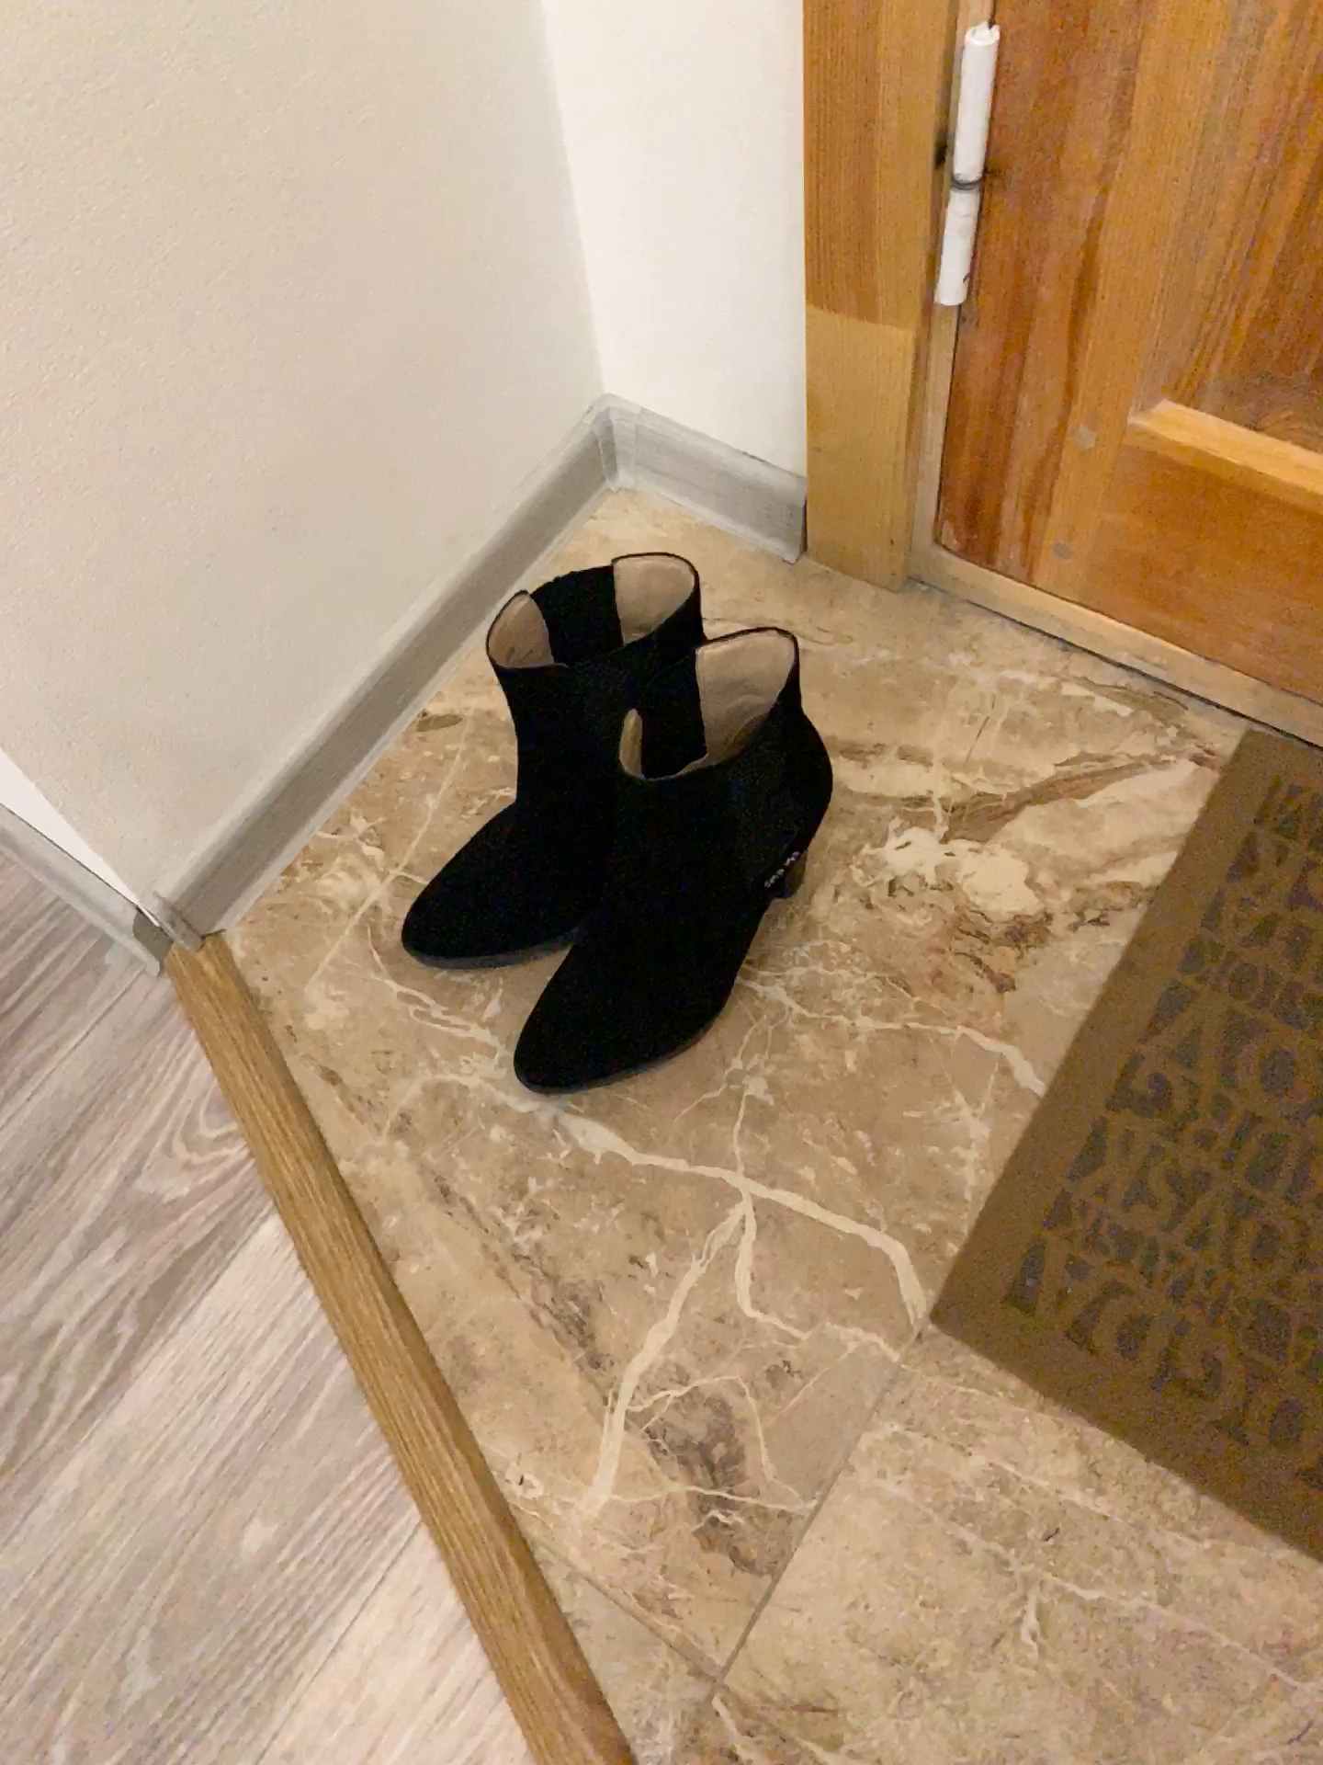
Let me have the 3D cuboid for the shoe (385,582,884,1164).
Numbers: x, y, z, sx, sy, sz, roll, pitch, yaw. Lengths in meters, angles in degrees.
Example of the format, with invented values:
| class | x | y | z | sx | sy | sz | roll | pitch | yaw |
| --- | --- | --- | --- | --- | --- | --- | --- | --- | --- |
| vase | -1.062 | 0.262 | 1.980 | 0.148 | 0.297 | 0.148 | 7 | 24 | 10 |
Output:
| class | x | y | z | sx | sy | sz | roll | pitch | yaw |
| --- | --- | --- | --- | --- | --- | --- | --- | --- | --- |
| shoe | 0.000 | 0.003 | 0.668 | 0.214 | 0.199 | 0.087 | -42 | 65 | -16 |

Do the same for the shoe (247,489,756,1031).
| class | x | y | z | sx | sy | sz | roll | pitch | yaw |
| --- | --- | --- | --- | --- | --- | --- | --- | --- | --- |
| shoe | -0.066 | -0.055 | 0.703 | 0.214 | 0.199 | 0.087 | -34 | 63 | -13 |
